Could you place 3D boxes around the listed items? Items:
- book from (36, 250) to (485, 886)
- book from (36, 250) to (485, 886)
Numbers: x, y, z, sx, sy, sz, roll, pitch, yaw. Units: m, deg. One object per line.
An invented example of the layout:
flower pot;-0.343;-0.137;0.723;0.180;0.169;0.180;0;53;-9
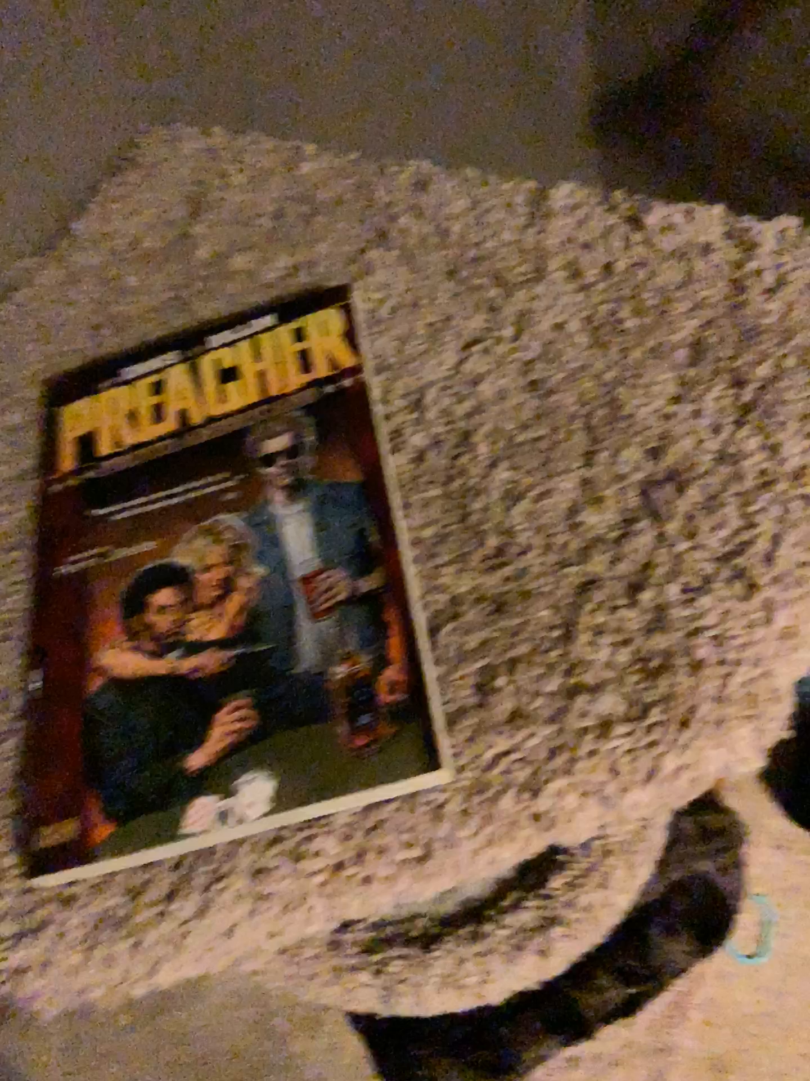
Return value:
book;-0.080;-0.007;0.405;0.170;0.020;0.270;-17;57;7
book;-0.080;-0.007;0.405;0.170;0.020;0.270;-17;57;7
